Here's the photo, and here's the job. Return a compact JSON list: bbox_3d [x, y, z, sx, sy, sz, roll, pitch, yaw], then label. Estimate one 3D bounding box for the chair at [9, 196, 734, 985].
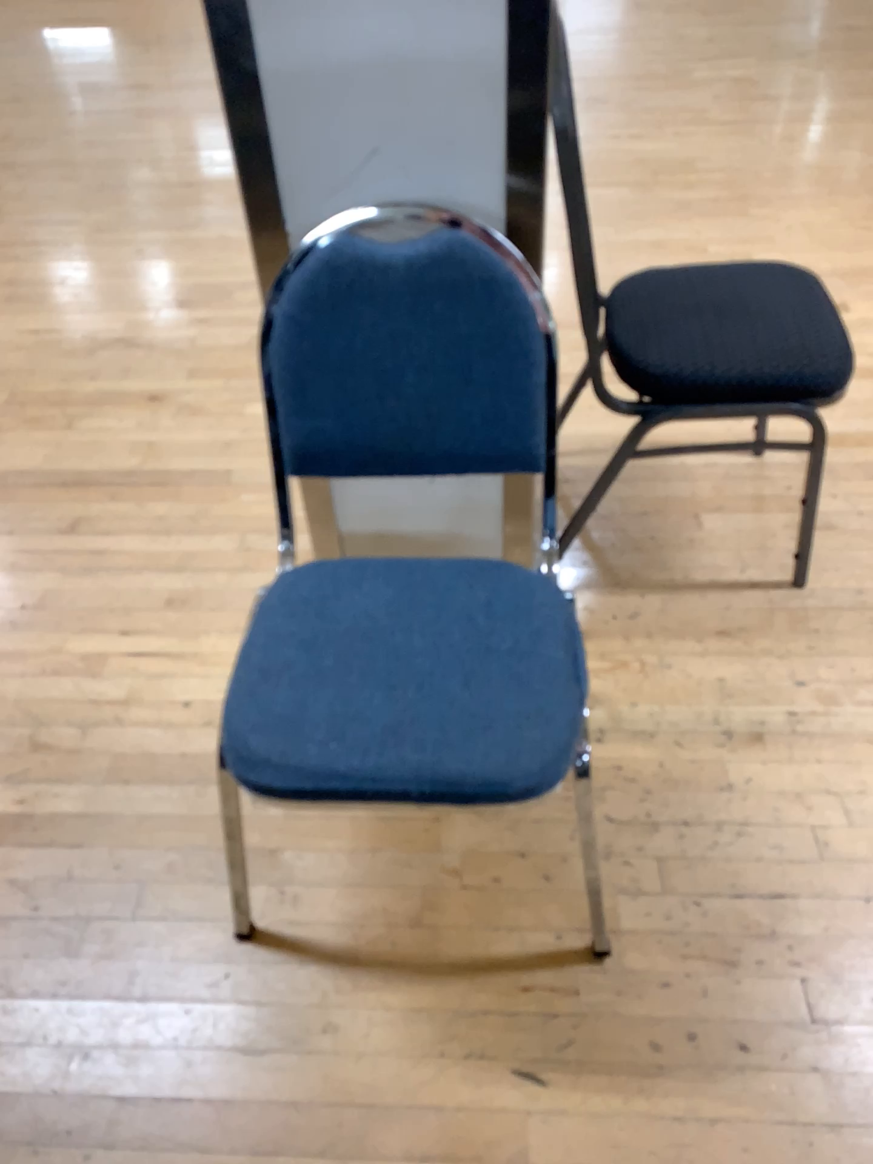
[{"bbox_3d":[-0.016,0.052,1.163,0.548,0.888,0.556,2,45,5],"label":"chair"}]
